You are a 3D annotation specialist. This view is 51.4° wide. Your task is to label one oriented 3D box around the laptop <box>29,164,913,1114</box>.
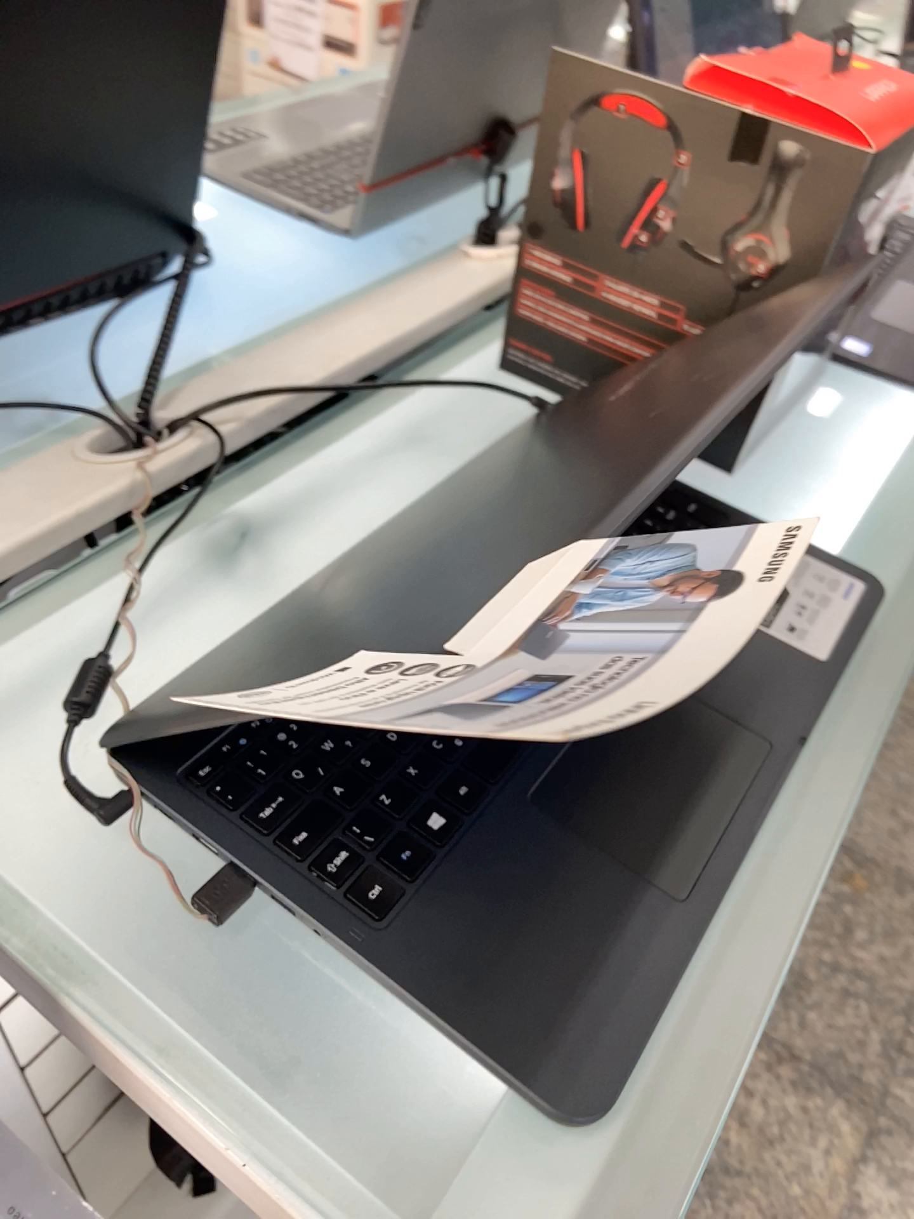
[{"bbox_3d":[0.061,-0.039,0.430,0.237,0.170,0.373,30,46,20],"label":"laptop"}]
